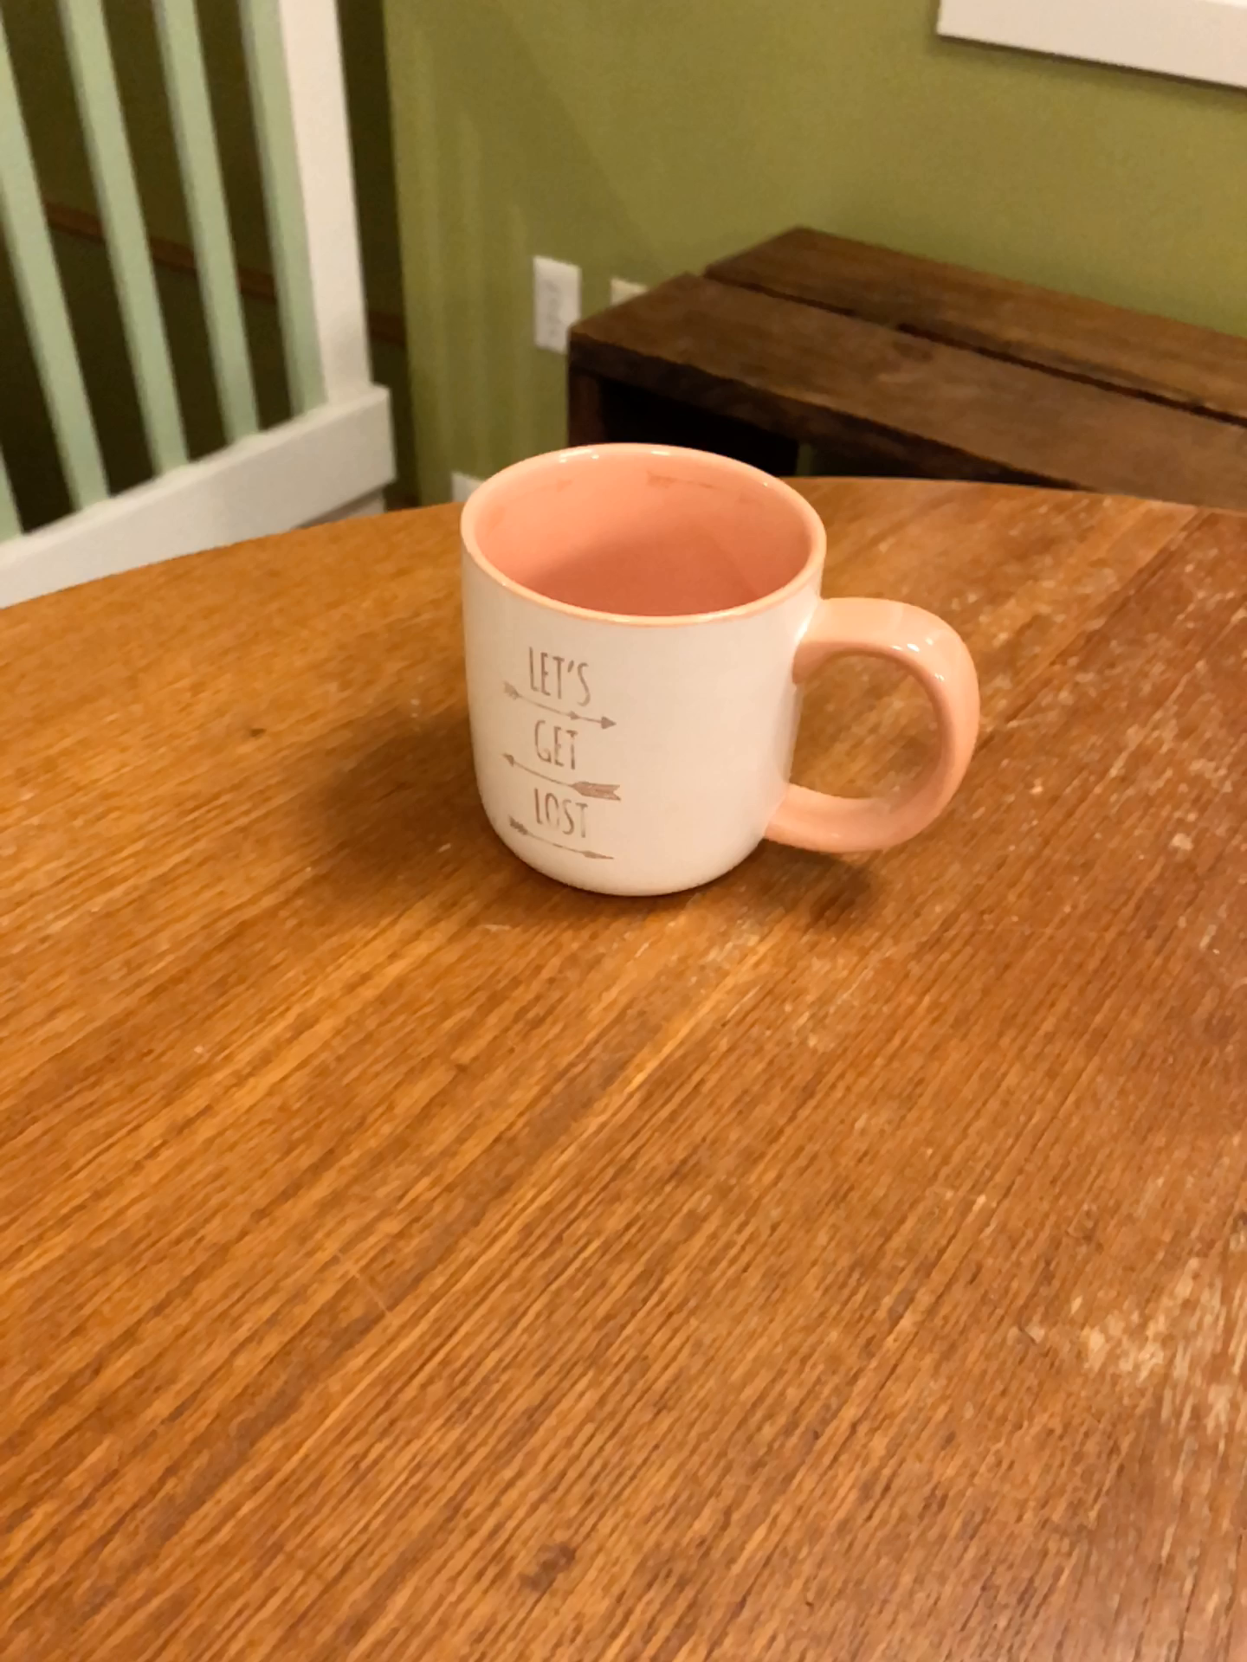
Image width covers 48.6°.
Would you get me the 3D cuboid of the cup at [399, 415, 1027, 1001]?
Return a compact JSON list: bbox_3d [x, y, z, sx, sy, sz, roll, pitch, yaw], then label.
[{"bbox_3d":[0.026,-0.039,0.392,0.144,0.106,0.094,13,41,13],"label":"cup"}]
